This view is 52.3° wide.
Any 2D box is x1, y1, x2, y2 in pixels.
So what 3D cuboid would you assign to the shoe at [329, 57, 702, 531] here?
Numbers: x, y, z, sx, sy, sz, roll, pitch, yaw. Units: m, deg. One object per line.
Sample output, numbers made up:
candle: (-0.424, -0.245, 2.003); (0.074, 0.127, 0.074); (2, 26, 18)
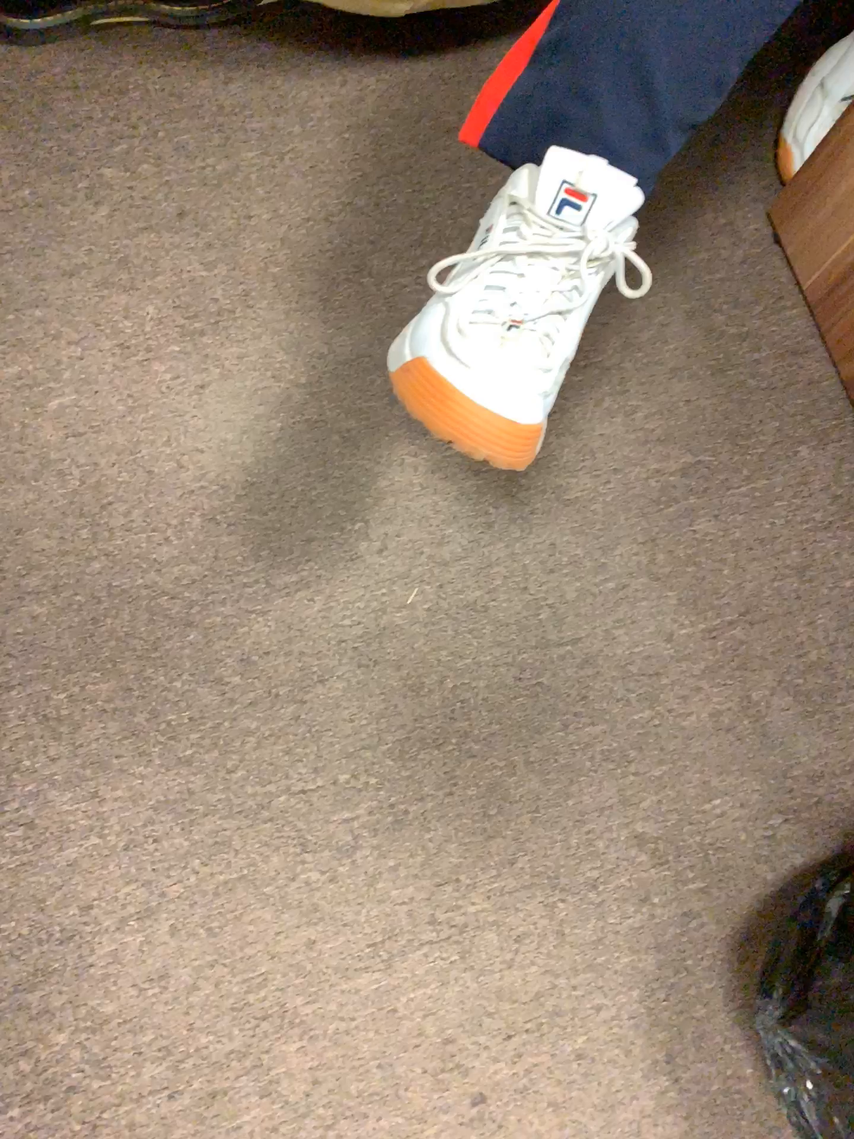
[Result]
shoe: (0.060, -0.169, 0.519); (0.130, 0.130, 0.230); (28, 50, -8)
